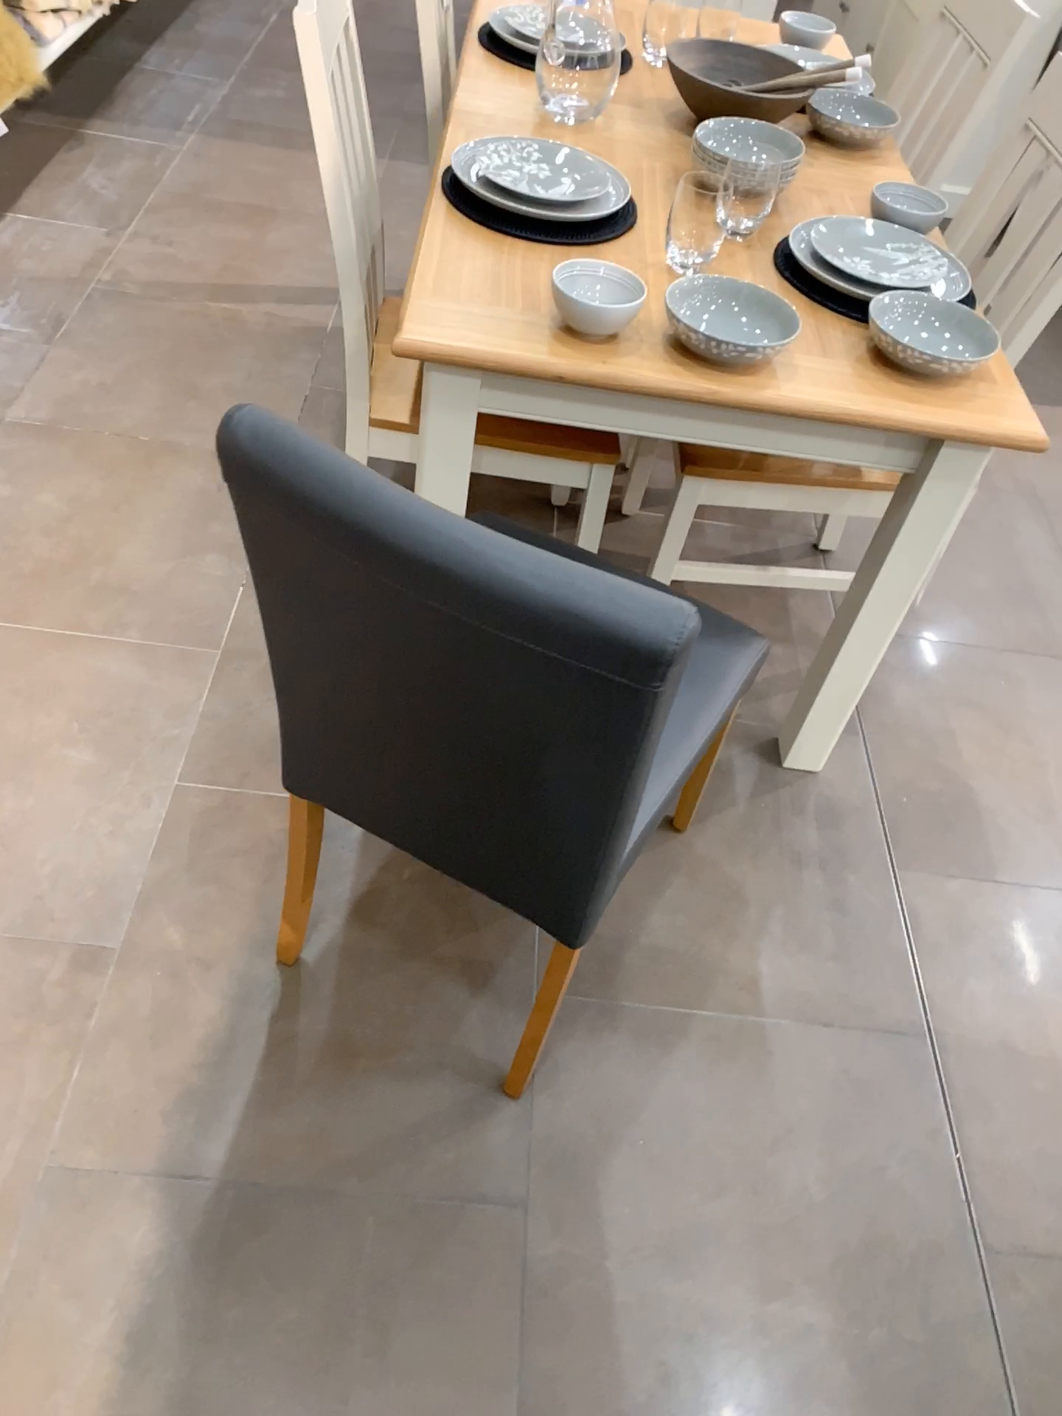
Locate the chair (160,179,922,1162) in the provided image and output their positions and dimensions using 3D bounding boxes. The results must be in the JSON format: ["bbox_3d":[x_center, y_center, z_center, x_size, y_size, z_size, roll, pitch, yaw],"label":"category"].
[{"bbox_3d":[-0.001,-0.019,1.338,0.476,0.907,0.654,26,48,13],"label":"chair"}]
